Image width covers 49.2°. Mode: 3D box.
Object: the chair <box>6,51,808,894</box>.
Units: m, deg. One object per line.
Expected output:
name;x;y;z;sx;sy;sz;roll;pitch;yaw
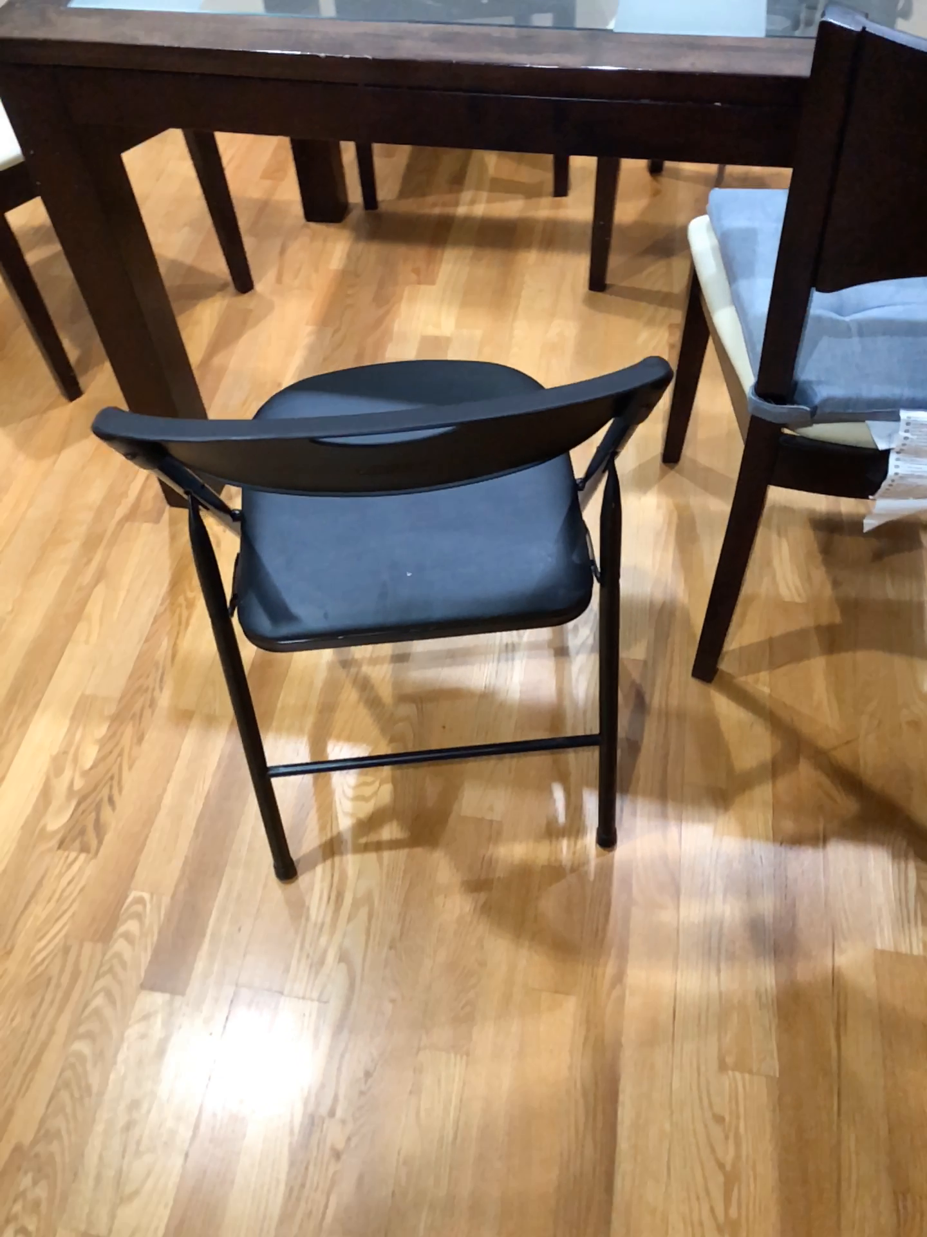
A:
chair;-0.036;-0.105;1.089;0.520;0.697;0.522;-4;54;0
